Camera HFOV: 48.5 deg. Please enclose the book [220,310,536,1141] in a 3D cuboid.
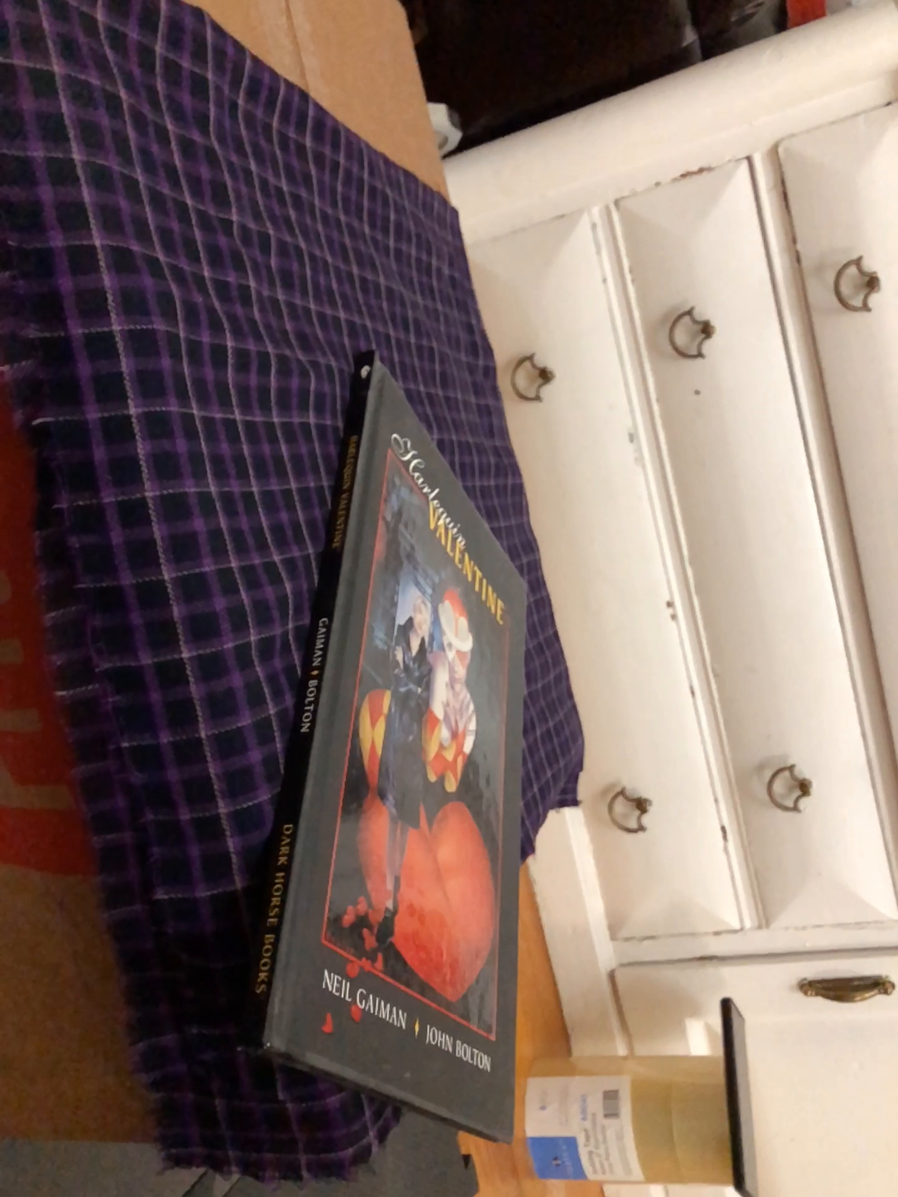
[{"bbox_3d":[-0.006,0.047,0.398,0.180,0.020,0.281,52,33,-48],"label":"book"}]
